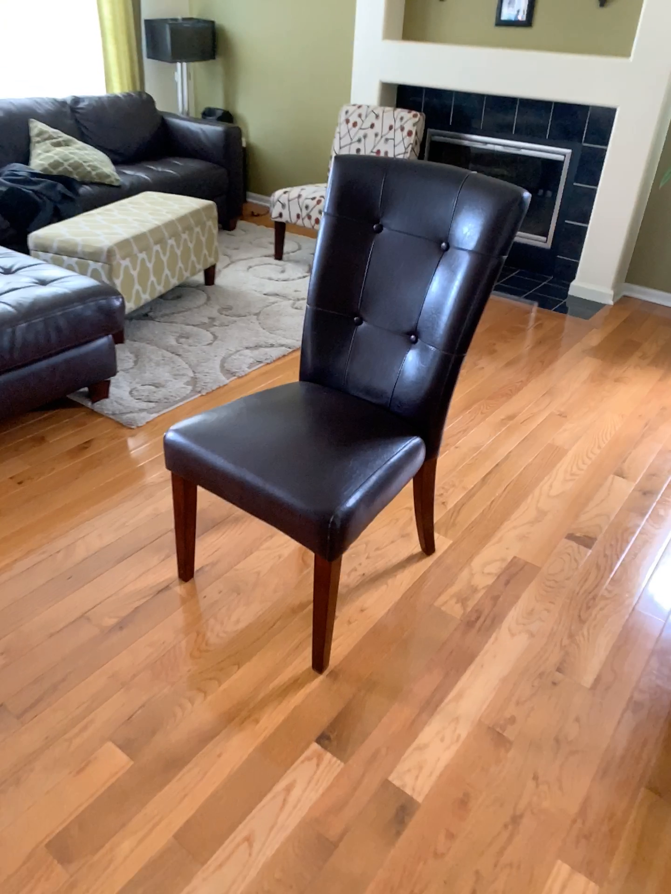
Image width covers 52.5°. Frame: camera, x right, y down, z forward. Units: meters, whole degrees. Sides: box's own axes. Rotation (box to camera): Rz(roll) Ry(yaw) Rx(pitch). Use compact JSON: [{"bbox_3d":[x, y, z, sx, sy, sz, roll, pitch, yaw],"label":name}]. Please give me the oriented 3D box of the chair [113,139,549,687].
[{"bbox_3d":[0.003,-0.130,1.615,0.538,0.976,0.726,25,38,30],"label":"chair"}]
